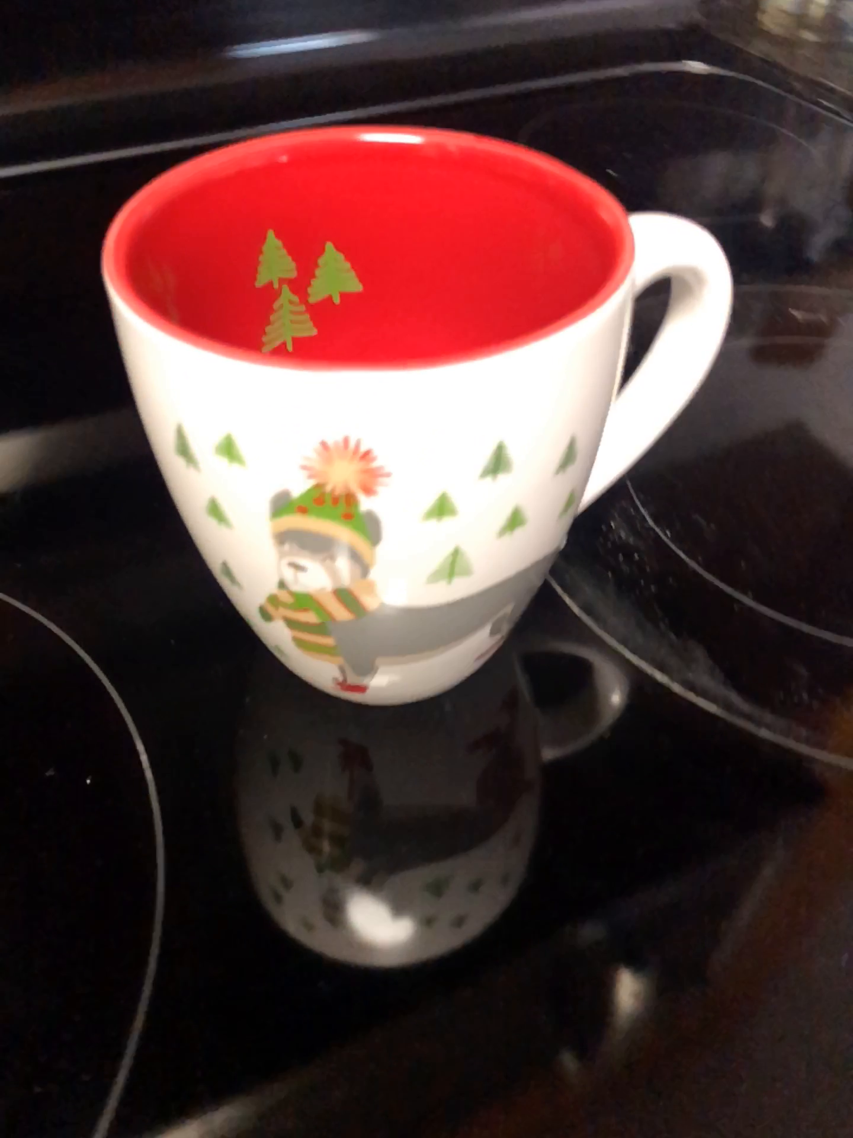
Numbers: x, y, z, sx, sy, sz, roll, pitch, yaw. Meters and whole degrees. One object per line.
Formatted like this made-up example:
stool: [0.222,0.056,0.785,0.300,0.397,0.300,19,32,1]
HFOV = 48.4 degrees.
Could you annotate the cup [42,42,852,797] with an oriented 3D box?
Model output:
cup: [0.008,-0.042,0.217,0.140,0.100,0.100,-20,48,-20]
